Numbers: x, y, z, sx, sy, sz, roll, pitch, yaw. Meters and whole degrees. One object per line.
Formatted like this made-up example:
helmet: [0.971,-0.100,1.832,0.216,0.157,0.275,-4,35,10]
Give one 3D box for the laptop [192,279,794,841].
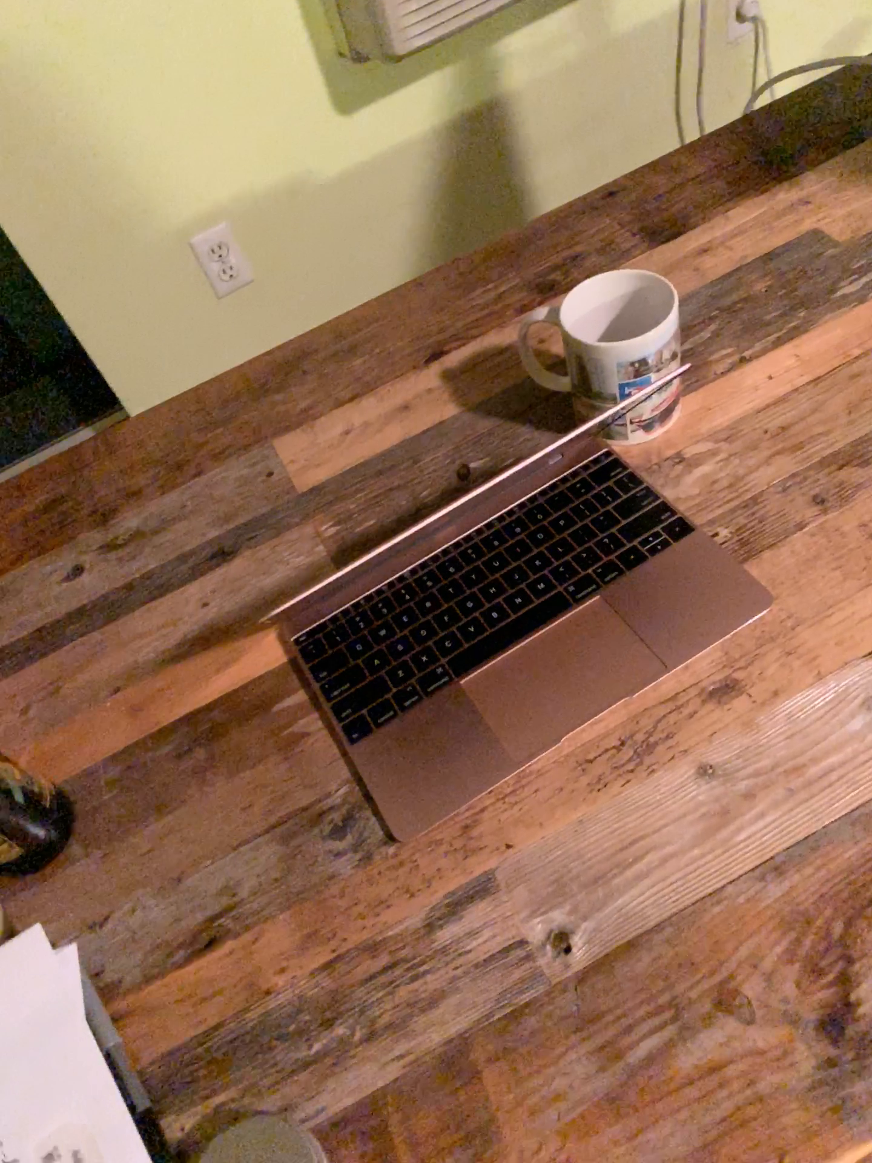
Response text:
laptop: [0.035,-0.019,0.557,0.278,0.145,0.194,-31,52,-8]
